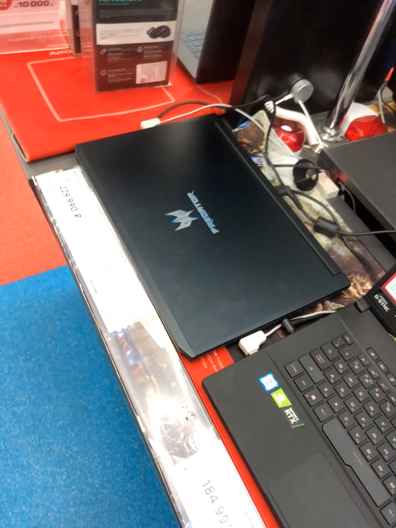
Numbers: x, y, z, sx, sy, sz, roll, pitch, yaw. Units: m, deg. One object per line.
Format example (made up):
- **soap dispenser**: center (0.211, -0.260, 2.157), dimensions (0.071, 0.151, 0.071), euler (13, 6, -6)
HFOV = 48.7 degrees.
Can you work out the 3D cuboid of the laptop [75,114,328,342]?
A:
- **laptop**: center (-0.005, -0.082, 0.633), dimensions (0.221, 0.006, 0.354), euler (-21, 63, -22)
